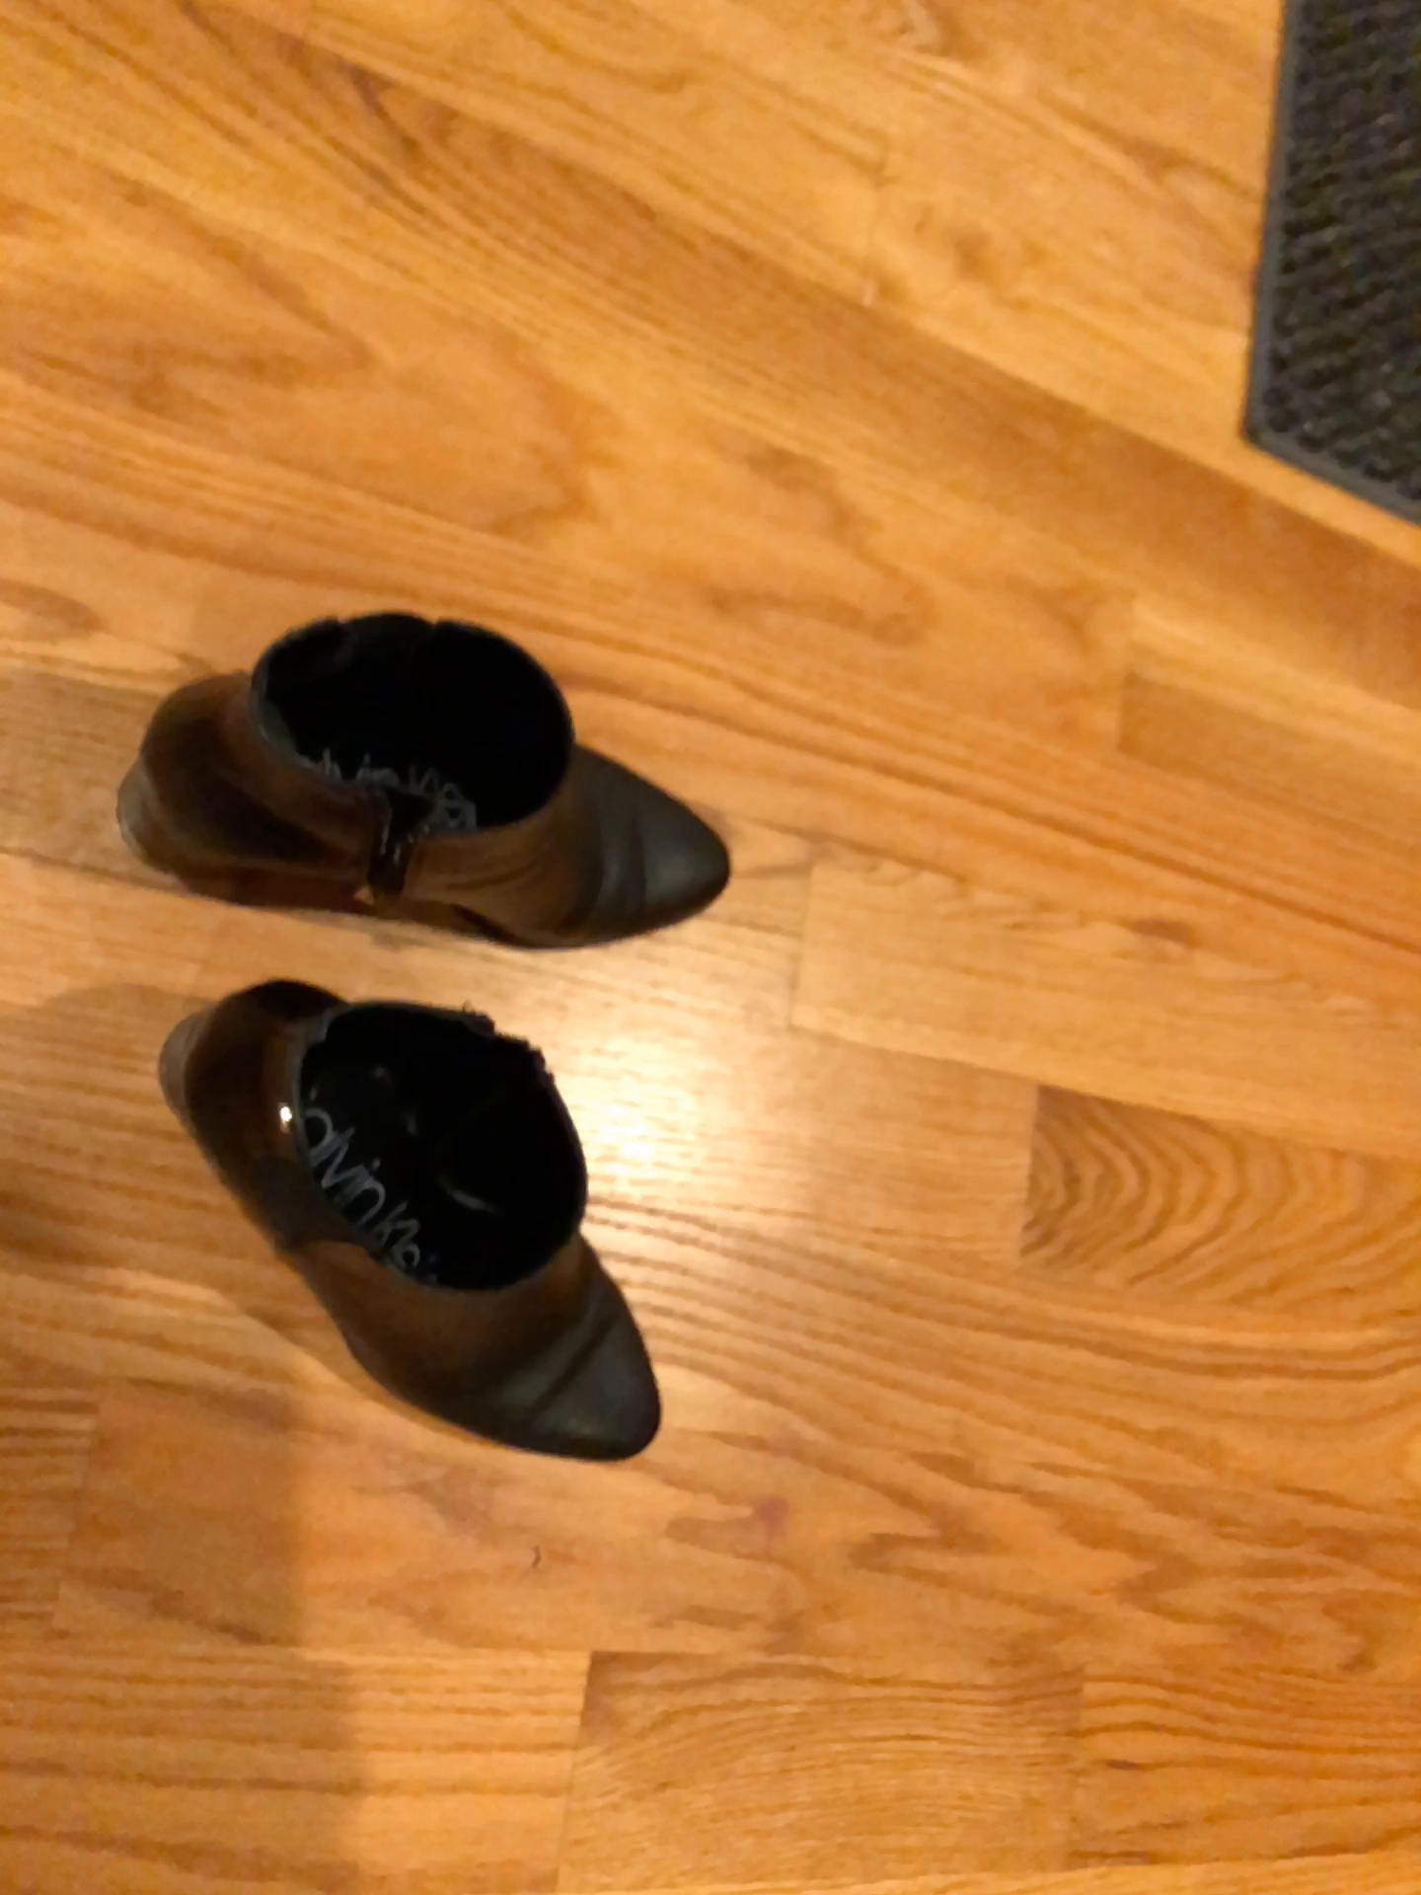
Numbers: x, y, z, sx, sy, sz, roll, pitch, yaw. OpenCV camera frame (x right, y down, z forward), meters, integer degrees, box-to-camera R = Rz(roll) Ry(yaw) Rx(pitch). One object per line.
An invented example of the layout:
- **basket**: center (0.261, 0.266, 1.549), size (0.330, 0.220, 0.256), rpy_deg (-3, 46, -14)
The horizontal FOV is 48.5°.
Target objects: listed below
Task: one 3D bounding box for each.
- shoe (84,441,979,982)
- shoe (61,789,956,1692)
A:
- **shoe**: center (-0.063, -0.056, 0.513), size (0.236, 0.176, 0.095), rpy_deg (7, 81, -26)
- **shoe**: center (-0.072, 0.088, 0.491), size (0.095, 0.176, 0.236), rpy_deg (-45, 105, -24)
